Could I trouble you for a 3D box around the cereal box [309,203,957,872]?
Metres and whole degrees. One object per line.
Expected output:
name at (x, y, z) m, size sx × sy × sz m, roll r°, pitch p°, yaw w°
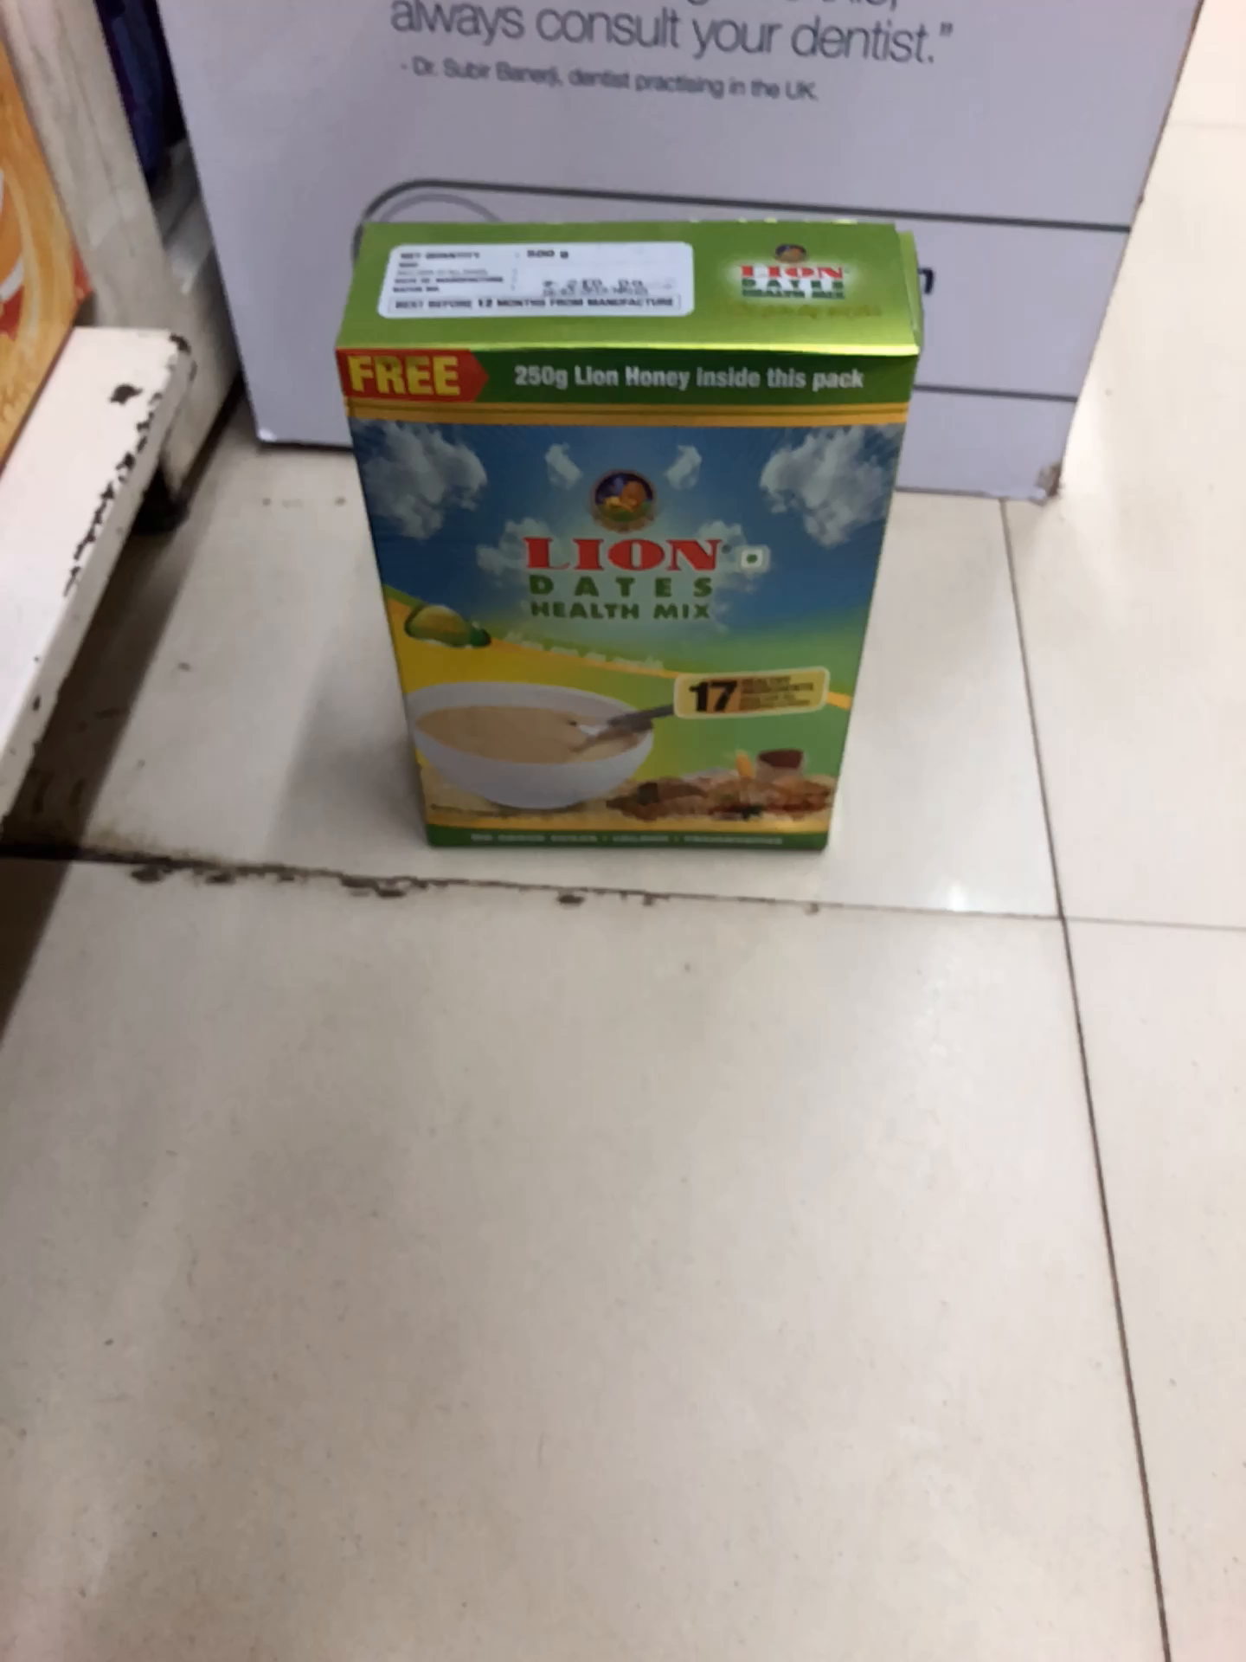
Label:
cereal box at (0.004, -0.072, 0.391) m, size 0.140 × 0.179 × 0.070 m, roll 1°, pitch 51°, yaw 1°
